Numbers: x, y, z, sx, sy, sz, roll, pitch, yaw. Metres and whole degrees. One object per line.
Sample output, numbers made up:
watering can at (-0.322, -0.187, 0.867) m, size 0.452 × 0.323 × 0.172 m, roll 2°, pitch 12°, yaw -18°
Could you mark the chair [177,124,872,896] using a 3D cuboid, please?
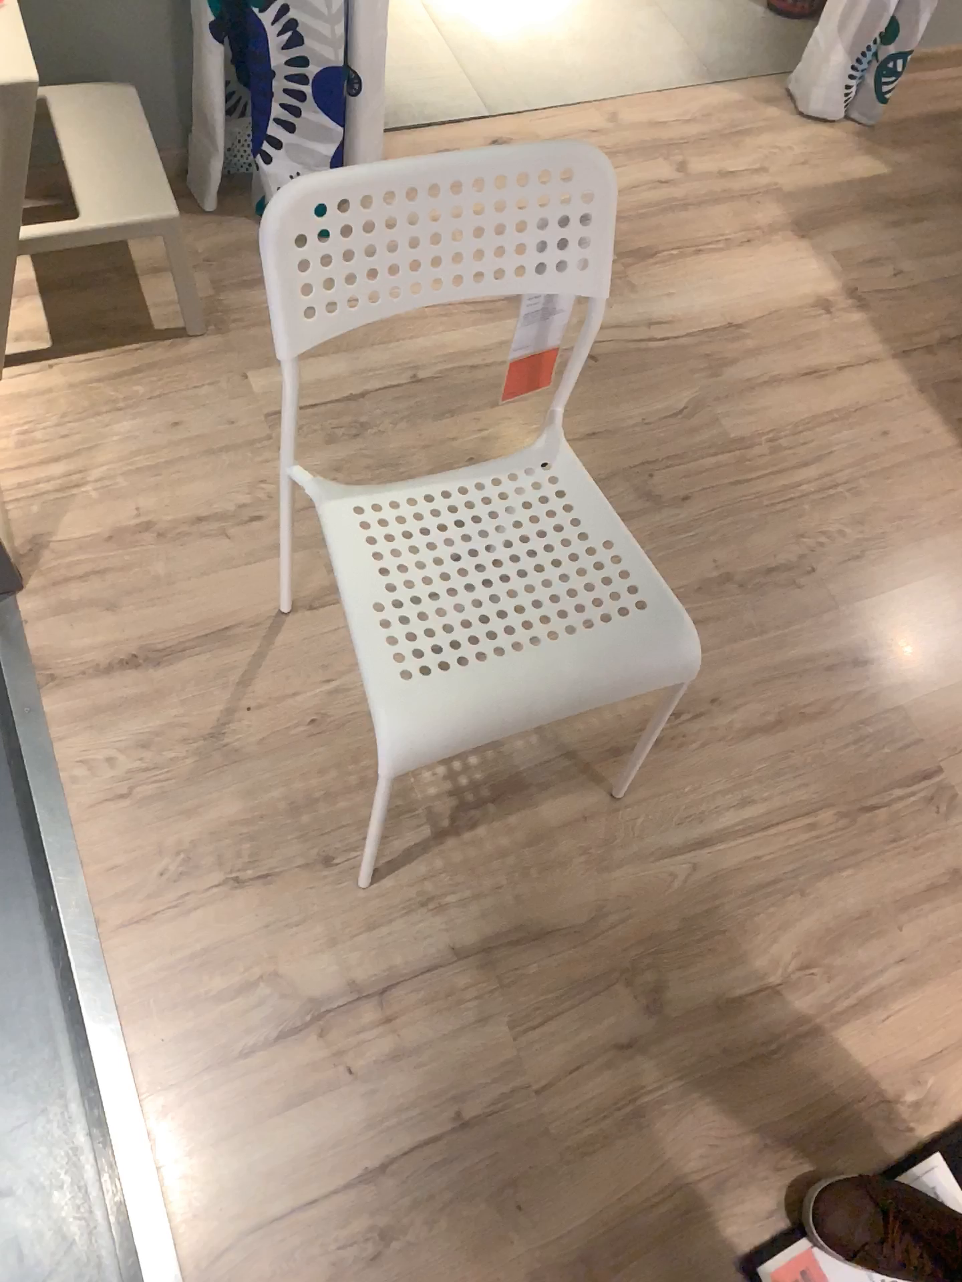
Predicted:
chair at (-0.018, -0.109, 1.109) m, size 0.430 × 0.609 × 0.530 m, roll -17°, pitch 66°, yaw -17°
